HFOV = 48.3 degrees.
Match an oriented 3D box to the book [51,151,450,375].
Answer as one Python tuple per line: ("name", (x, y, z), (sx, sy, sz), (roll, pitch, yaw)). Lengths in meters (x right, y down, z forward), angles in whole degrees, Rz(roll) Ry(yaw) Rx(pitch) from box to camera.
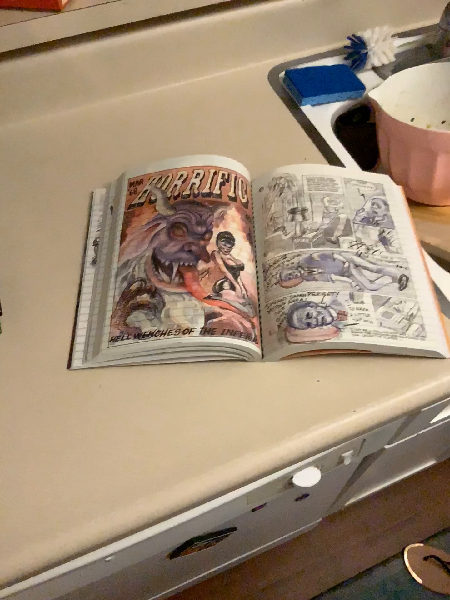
("book", (0.039, -0.056, 0.594), (0.430, 0.050, 0.280), (-2, 57, -1))
